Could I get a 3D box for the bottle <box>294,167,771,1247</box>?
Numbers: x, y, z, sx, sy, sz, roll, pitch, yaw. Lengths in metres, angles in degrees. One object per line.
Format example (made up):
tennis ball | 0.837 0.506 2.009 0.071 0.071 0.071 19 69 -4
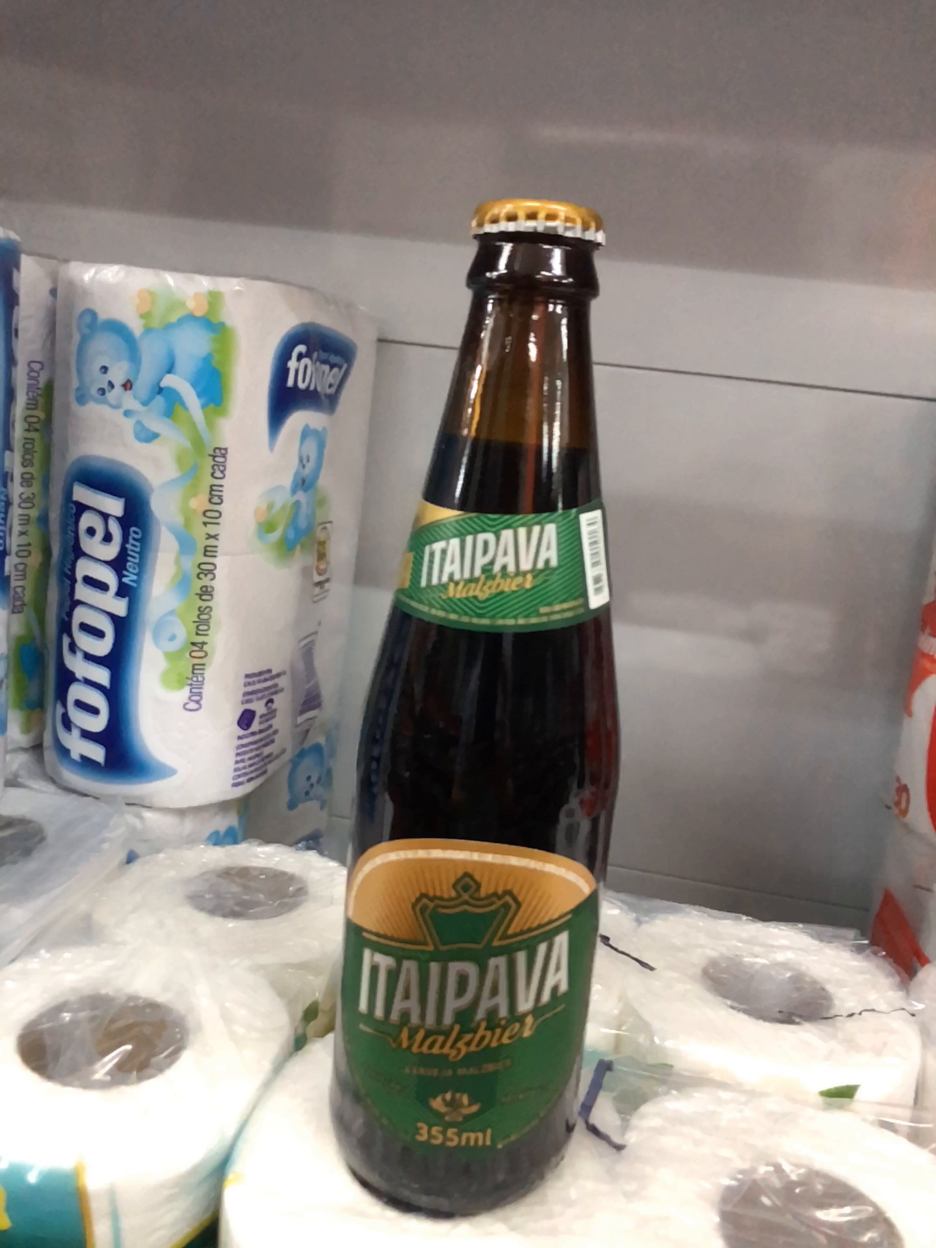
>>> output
bottle | 0.009 0.021 0.238 0.070 0.219 0.060 7 13 2
